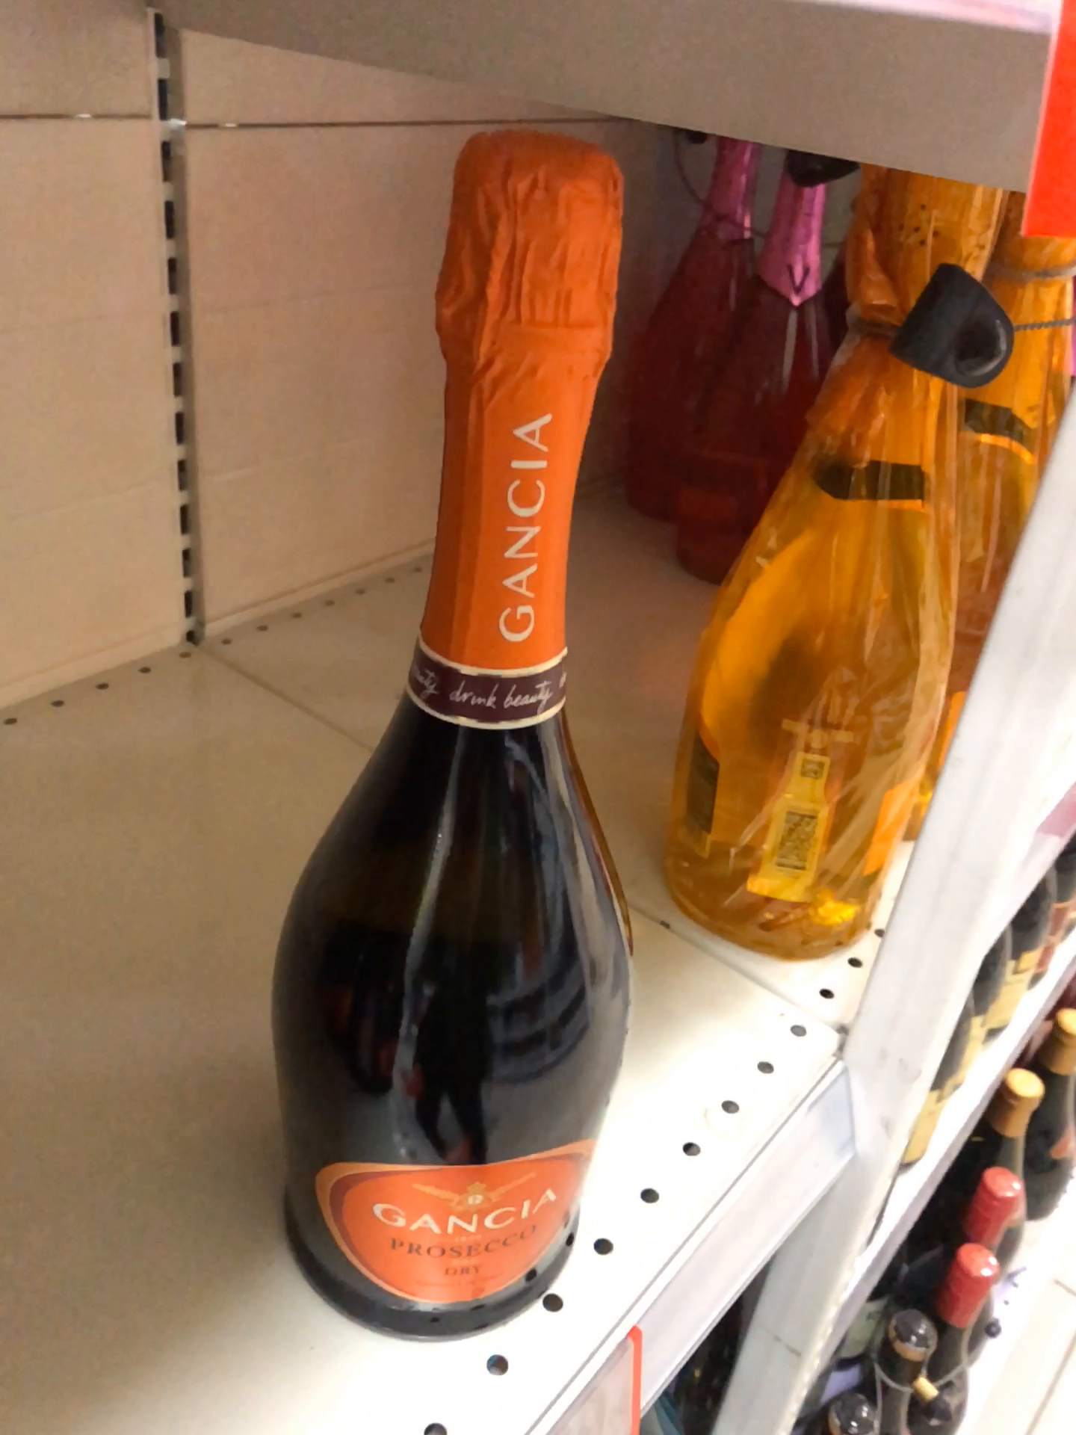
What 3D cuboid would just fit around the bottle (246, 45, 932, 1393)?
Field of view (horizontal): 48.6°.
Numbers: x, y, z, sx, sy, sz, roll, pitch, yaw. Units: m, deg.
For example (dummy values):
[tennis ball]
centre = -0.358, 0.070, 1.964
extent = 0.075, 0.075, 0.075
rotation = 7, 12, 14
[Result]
[bottle]
centre = -0.016, 0.021, 0.291
extent = 0.100, 0.308, 0.101
rotation = 5, 31, -3
